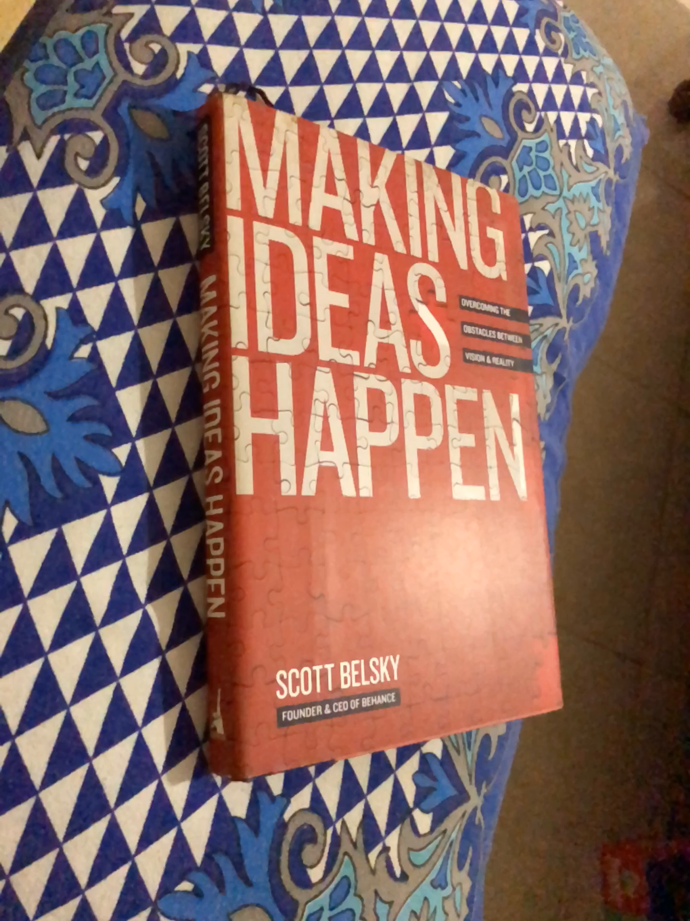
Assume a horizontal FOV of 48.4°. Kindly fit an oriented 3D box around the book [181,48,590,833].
[{"bbox_3d":[0.018,-0.010,0.297,0.161,0.030,0.250,6,76,-35],"label":"book"}]
